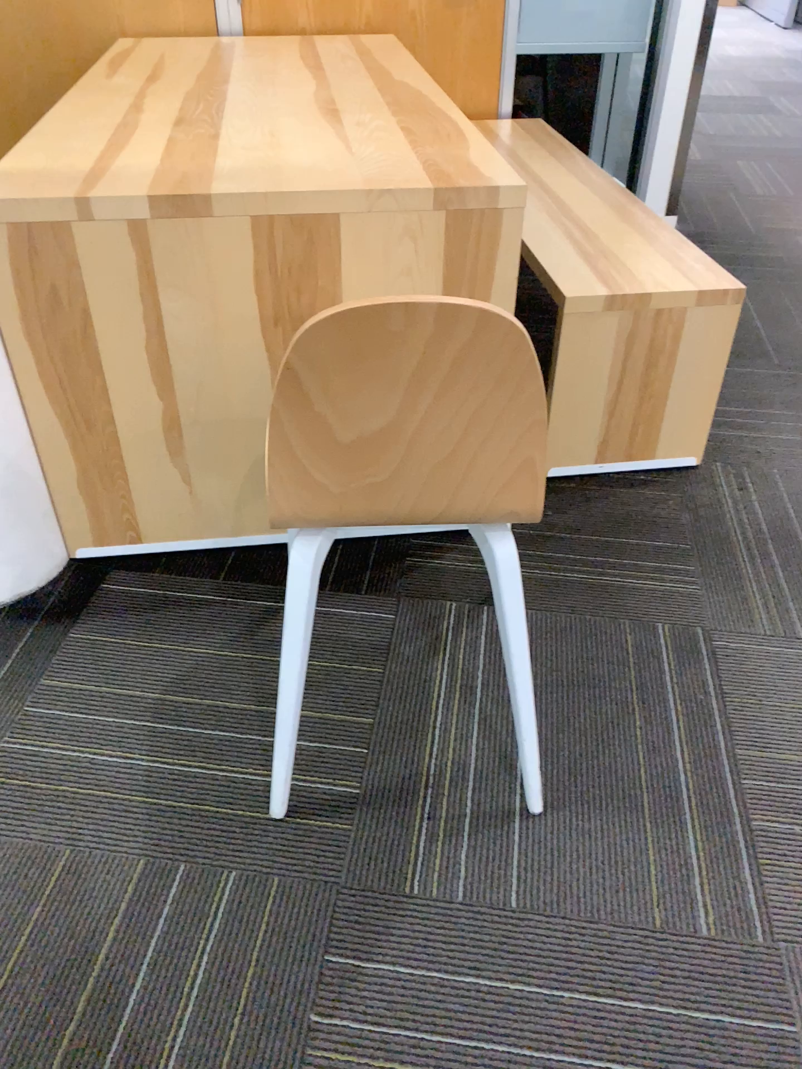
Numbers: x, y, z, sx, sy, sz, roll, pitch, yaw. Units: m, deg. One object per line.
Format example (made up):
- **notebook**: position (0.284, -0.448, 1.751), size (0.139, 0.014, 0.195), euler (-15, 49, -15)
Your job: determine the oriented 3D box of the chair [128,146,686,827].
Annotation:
- **chair**: position (-0.007, -0.061, 1.201), size (0.500, 0.815, 0.553), euler (-1, 38, -2)
